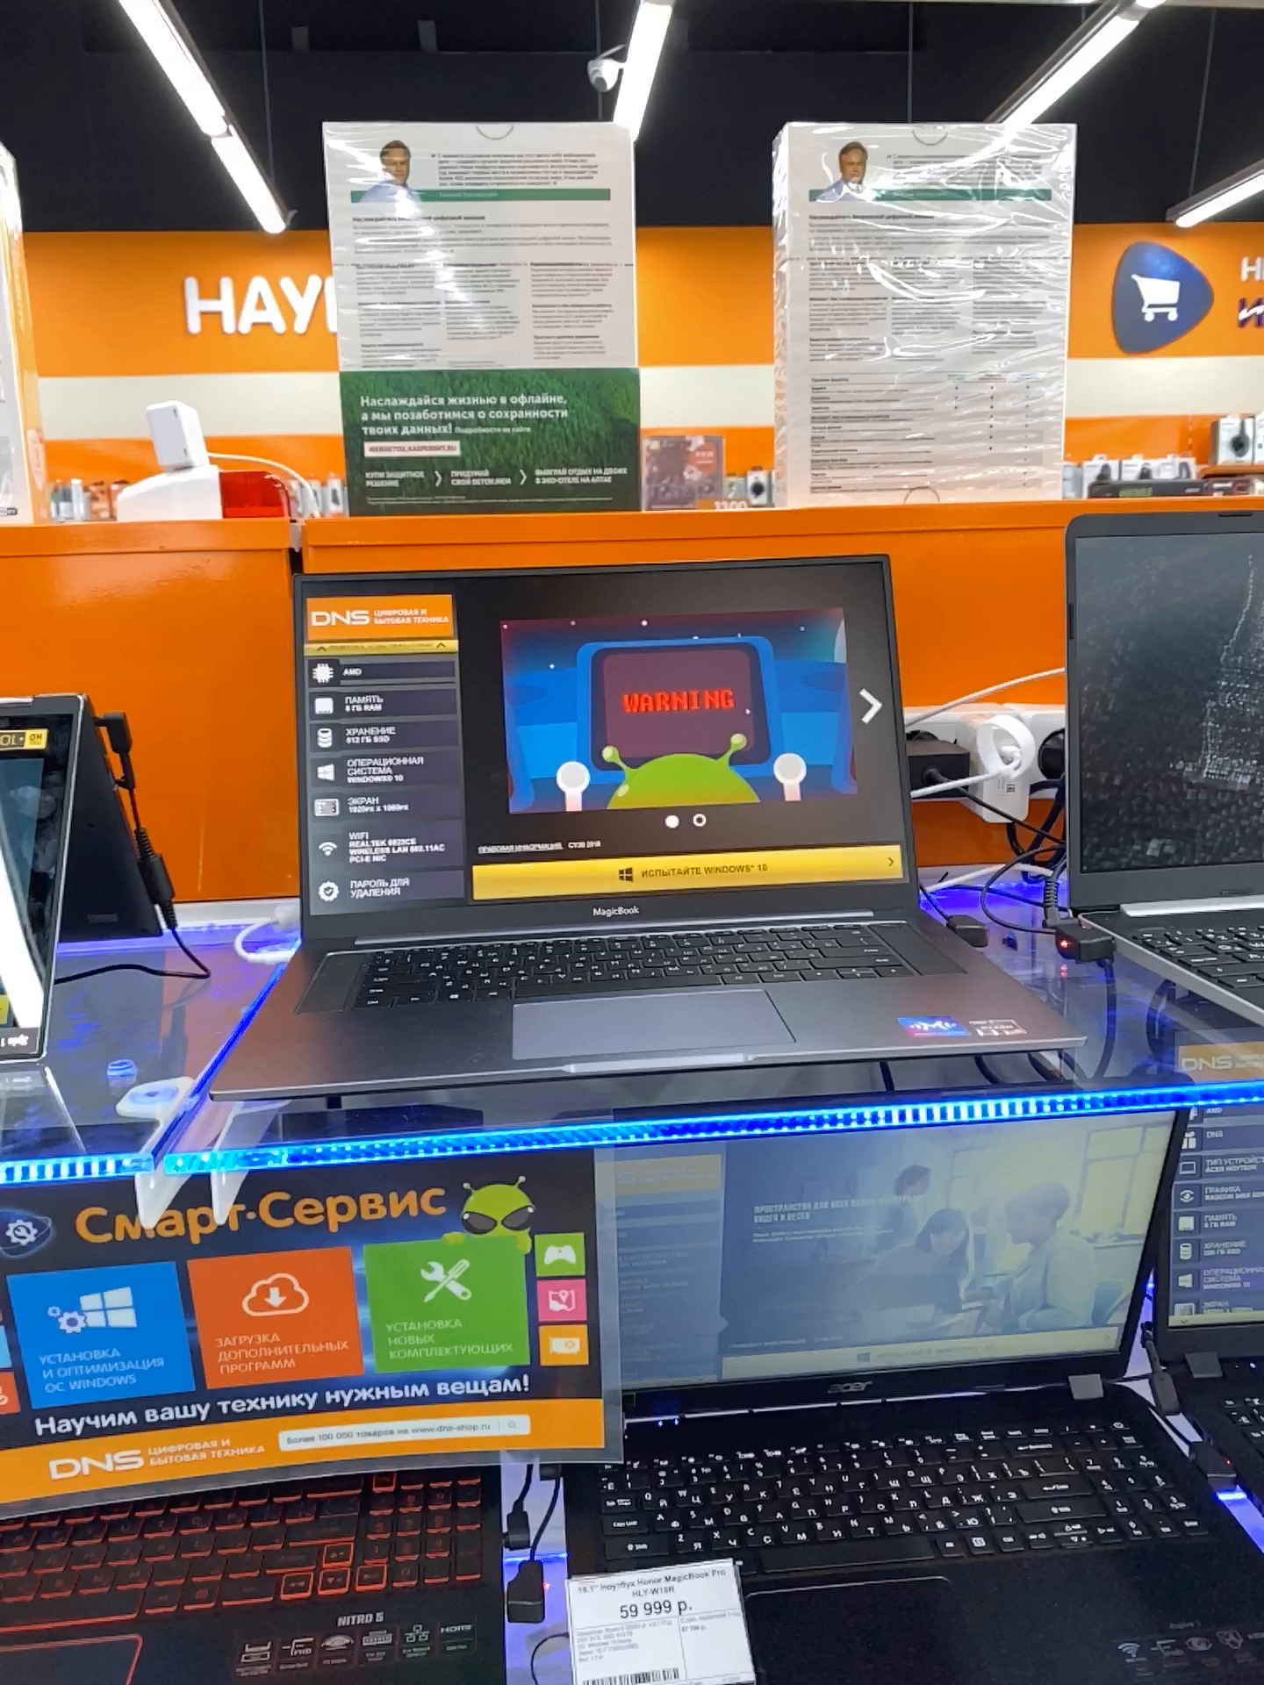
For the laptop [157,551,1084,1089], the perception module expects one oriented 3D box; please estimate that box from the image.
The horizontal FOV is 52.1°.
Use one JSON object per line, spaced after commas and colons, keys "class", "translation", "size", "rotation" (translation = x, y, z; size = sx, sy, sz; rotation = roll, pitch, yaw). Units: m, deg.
{"class": "laptop", "translation": [-0.010, -0.041, 0.680], "size": [0.368, 0.207, 0.315], "rotation": [-2, 11, -4]}
